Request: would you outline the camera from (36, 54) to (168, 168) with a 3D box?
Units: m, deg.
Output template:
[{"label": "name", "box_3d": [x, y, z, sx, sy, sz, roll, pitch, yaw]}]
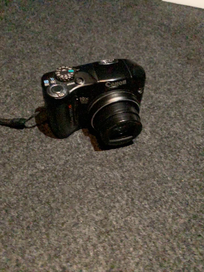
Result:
[{"label": "camera", "box_3d": [-0.005, -0.027, 0.232, 0.108, 0.079, 0.070, -13, 56, -13]}]
